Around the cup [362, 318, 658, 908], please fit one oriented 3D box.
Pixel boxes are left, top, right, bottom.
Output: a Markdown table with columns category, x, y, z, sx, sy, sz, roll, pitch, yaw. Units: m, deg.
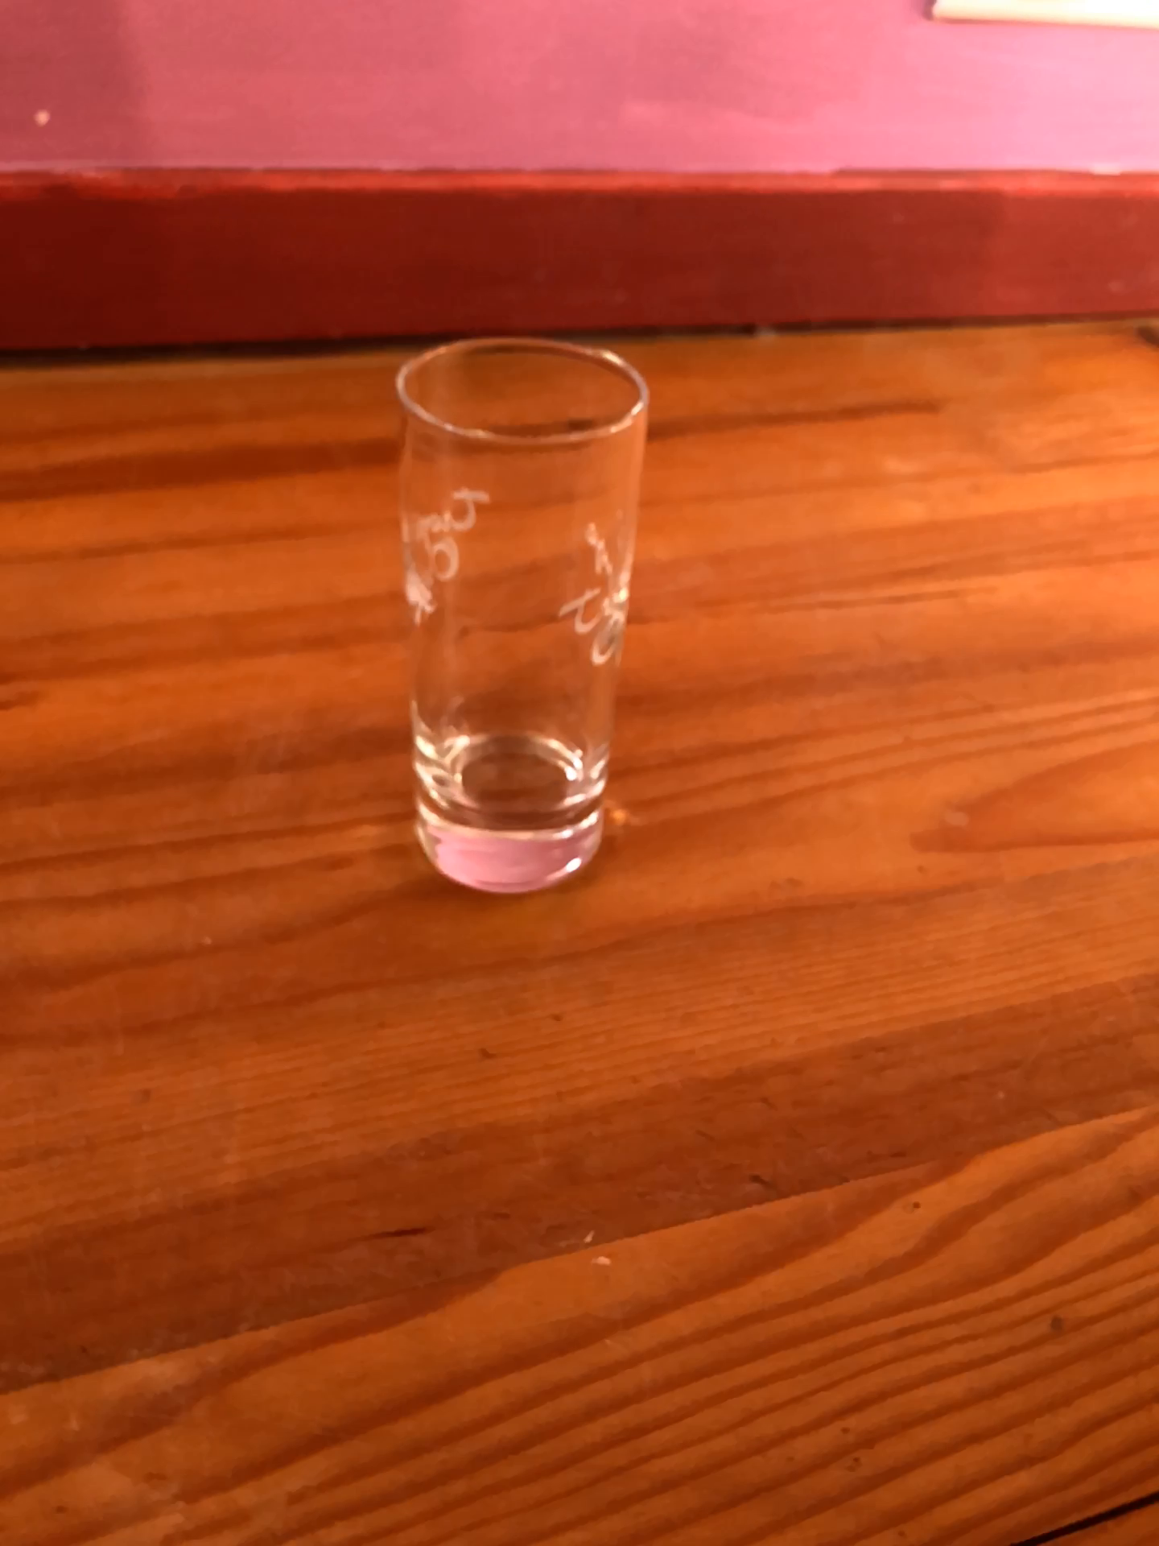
| category | x | y | z | sx | sy | sz | roll | pitch | yaw |
| --- | --- | --- | --- | --- | --- | --- | --- | --- | --- |
| cup | -0.016 | -0.033 | 0.304 | 0.056 | 0.124 | 0.056 | 2 | 38 | -2 |
